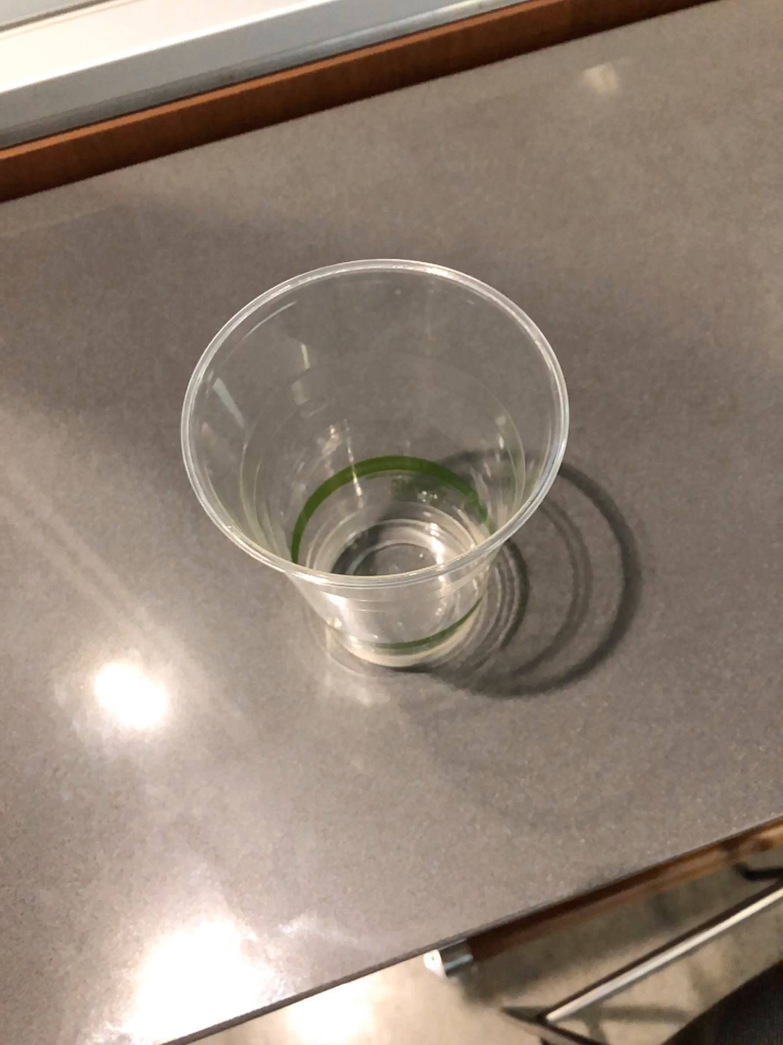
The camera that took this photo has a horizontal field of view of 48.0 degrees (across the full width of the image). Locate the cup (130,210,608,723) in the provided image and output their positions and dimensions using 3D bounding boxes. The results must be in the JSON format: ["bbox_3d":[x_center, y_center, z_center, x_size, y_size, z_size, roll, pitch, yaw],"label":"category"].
[{"bbox_3d":[0.002,-0.012,0.268,0.100,0.110,0.100,-2,62,4],"label":"cup"}]
